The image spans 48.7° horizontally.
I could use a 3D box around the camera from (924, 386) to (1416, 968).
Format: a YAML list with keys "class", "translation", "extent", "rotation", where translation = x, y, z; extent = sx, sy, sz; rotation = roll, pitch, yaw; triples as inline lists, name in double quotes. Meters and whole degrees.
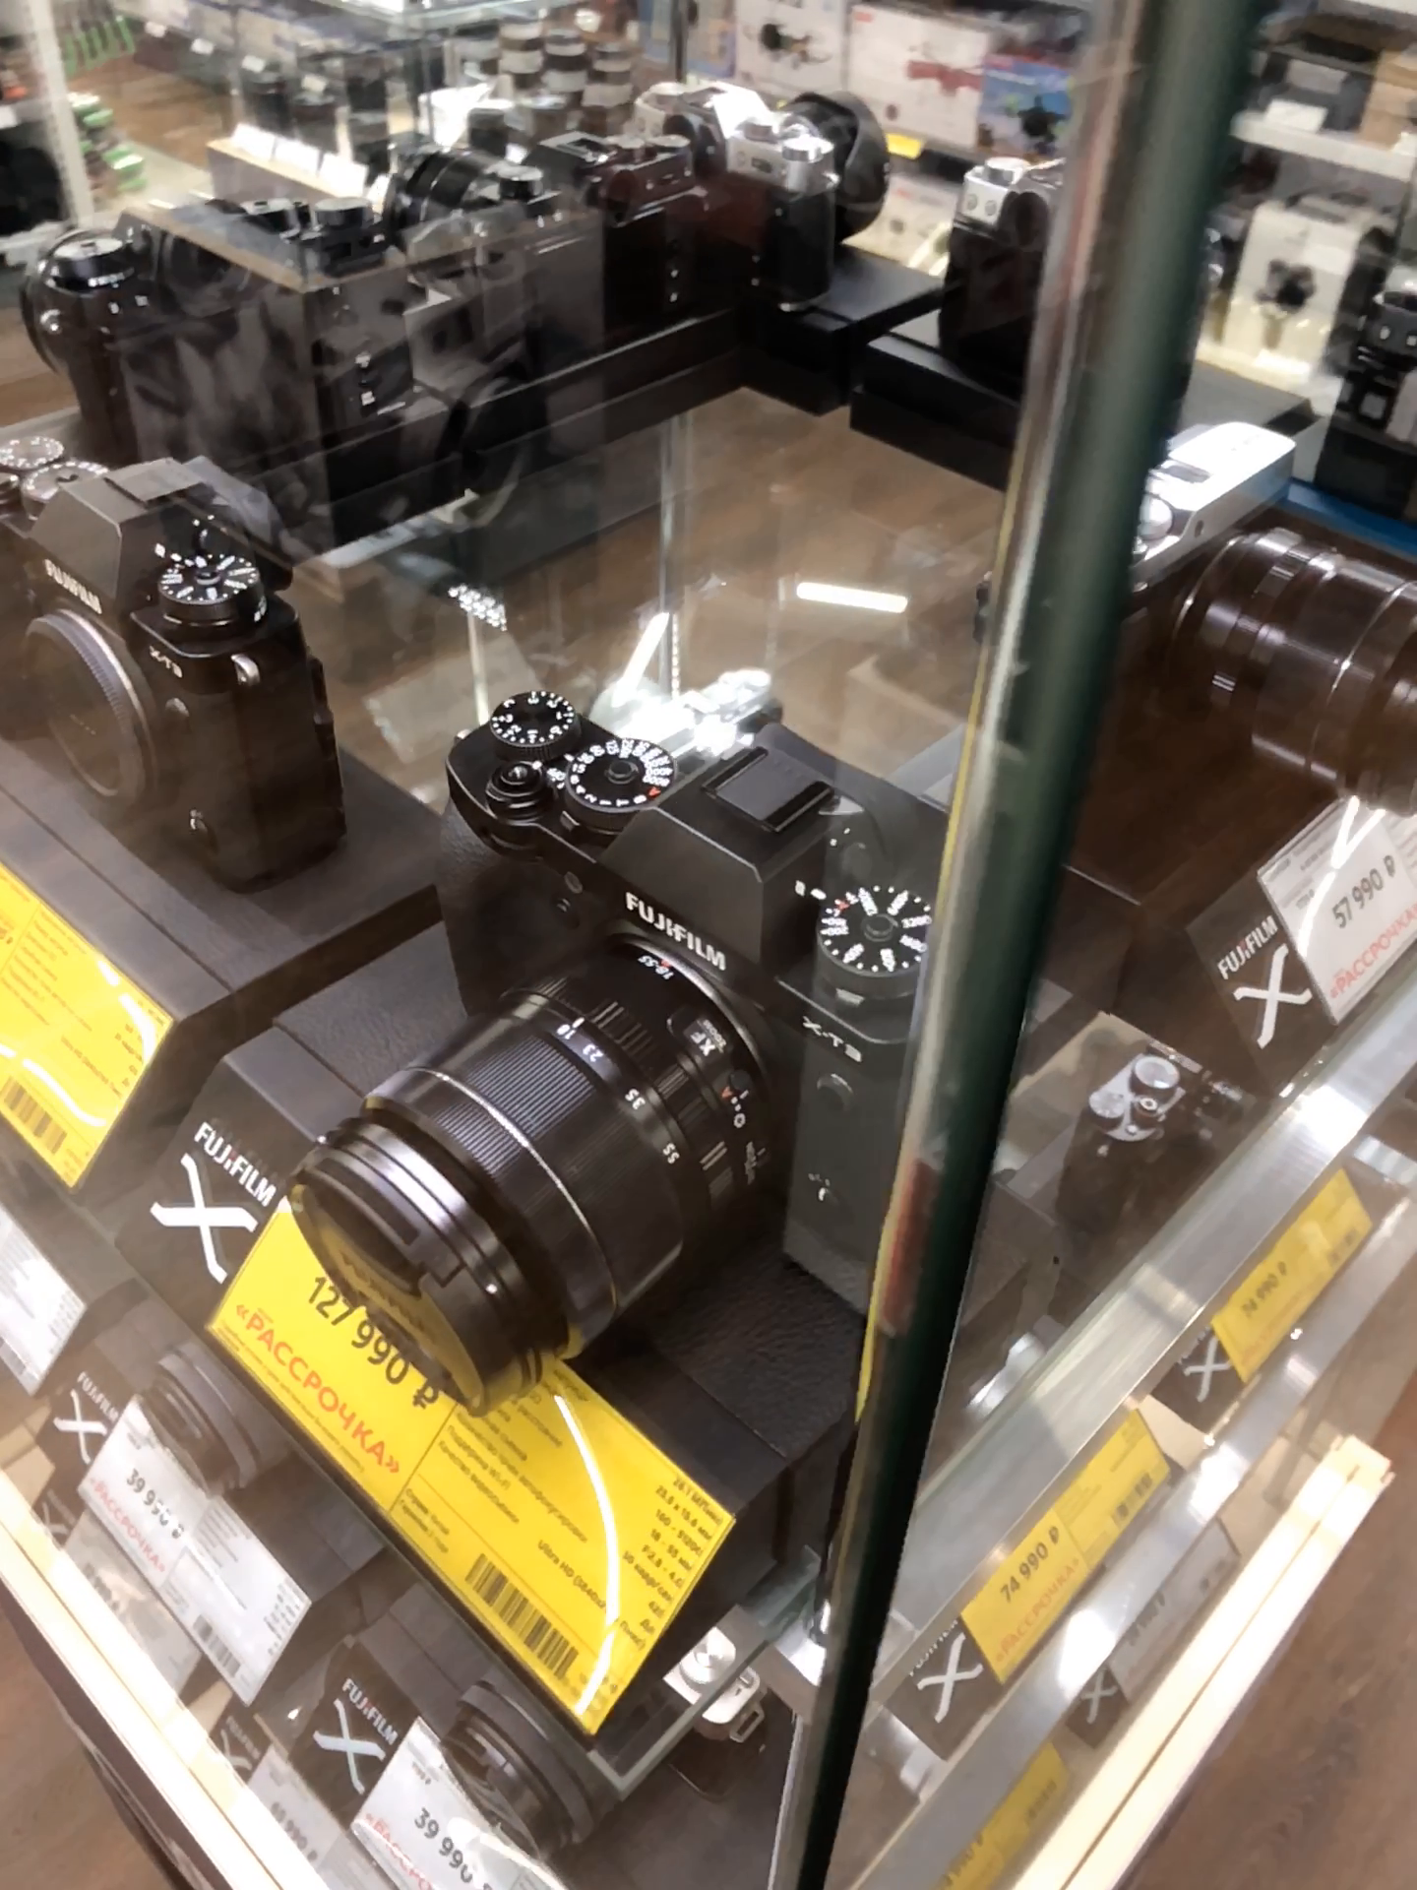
- class: "camera"
  translation: [0.151, -0.083, 0.449]
  extent: [0.115, 0.088, 0.125]
  rotation: [34, 51, 31]

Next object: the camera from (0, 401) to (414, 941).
- class: "camera"
  translation: [-0.151, -0.079, 0.430]
  extent: [0.125, 0.088, 0.066]
  rotation: [33, 50, 30]

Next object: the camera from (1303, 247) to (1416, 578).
- class: "camera"
  translation: [0.291, -0.197, 0.572]
  extent: [0.056, 0.074, 0.109]
  rotation: [-31, 51, -32]

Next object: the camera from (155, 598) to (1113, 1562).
- class: "camera"
  translation: [-0.014, 0.018, 0.320]
  extent: [0.129, 0.099, 0.120]
  rotation: [31, 49, 29]

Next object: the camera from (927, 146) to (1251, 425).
- class: "camera"
  translation: [0.156, -0.280, 0.660]
  extent: [0.056, 0.074, 0.109]
  rotation: [-31, 51, -32]
